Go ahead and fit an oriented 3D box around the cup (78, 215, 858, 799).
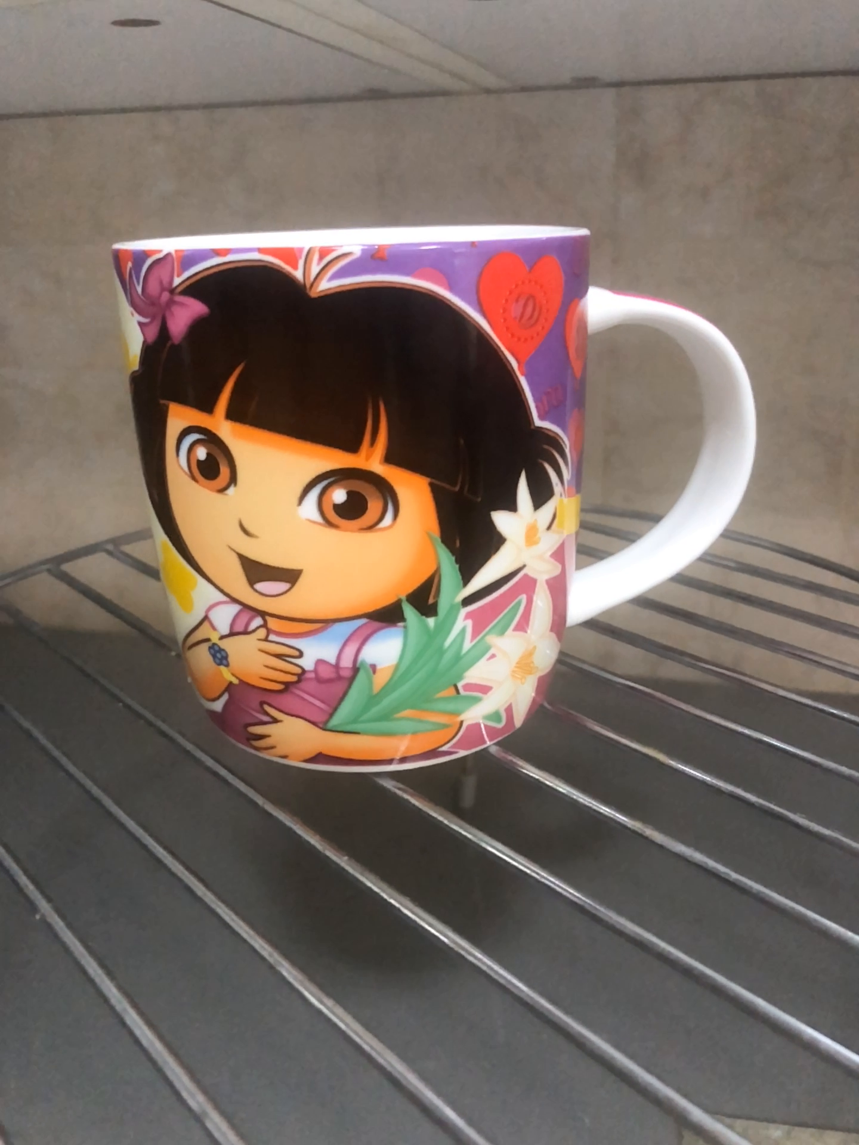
[{"bbox_3d":[0.008,-0.020,0.186,0.120,0.090,0.070,-3,20,-7],"label":"cup"}]
